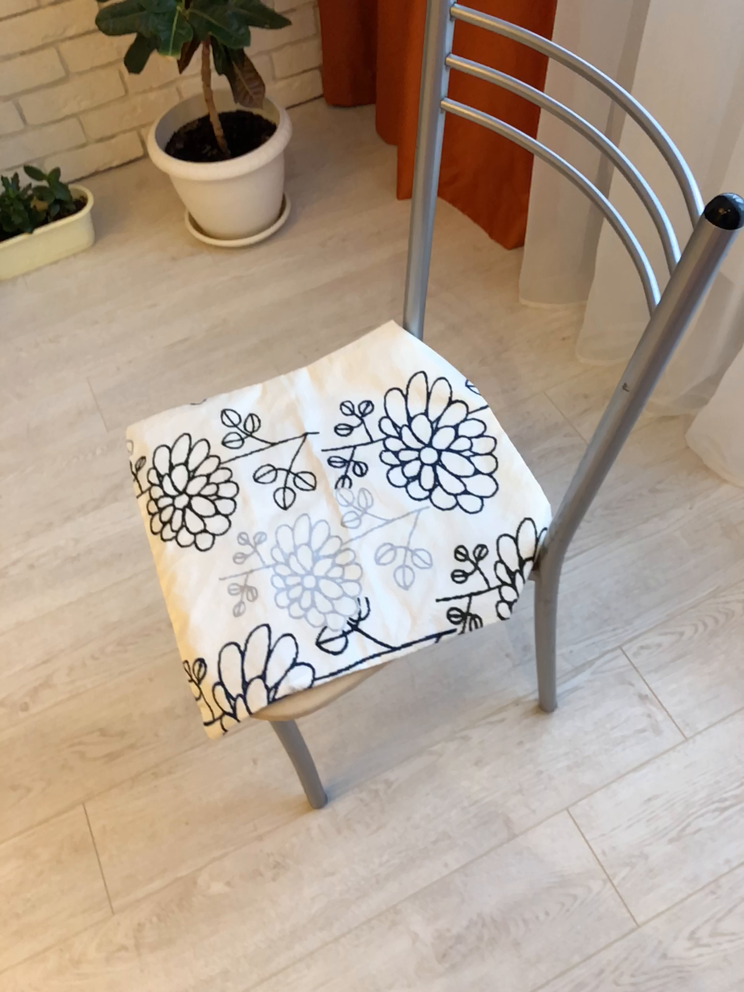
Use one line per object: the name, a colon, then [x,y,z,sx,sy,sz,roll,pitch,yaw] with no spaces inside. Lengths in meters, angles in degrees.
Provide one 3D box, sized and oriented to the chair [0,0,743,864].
chair: [0.005,0.002,0.858,0.440,0.795,0.422,-25,58,-11]
